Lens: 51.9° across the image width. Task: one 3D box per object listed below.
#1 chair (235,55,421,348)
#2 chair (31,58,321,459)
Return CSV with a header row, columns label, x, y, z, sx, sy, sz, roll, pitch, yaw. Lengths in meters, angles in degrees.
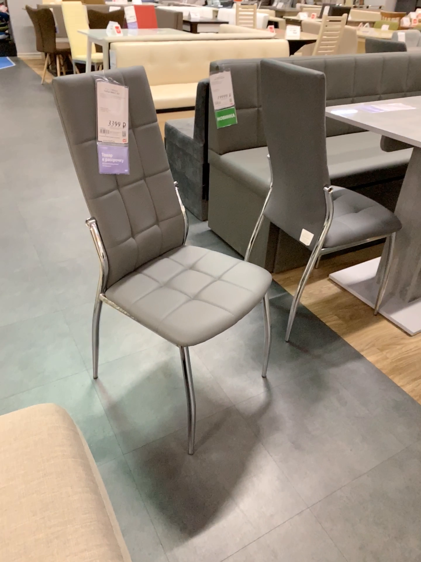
label,x,y,z,sx,sy,sz,roll,pitch,yaw
chair,0.483,-0.322,1.789,0.551,1.024,0.452,-14,37,-22
chair,-0.094,-0.072,1.346,0.531,1.024,0.472,26,41,31
